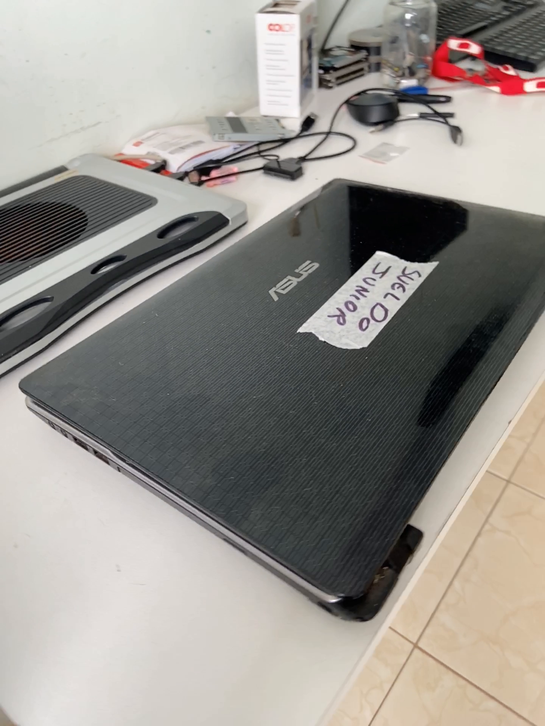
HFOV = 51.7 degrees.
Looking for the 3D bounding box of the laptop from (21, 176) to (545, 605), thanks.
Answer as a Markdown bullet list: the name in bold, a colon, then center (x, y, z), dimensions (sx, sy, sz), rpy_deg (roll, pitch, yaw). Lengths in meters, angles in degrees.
- **laptop**: center (0.046, -0.044, 0.393), dimensions (0.237, 0.001, 0.364), rpy_deg (23, 48, 30)
